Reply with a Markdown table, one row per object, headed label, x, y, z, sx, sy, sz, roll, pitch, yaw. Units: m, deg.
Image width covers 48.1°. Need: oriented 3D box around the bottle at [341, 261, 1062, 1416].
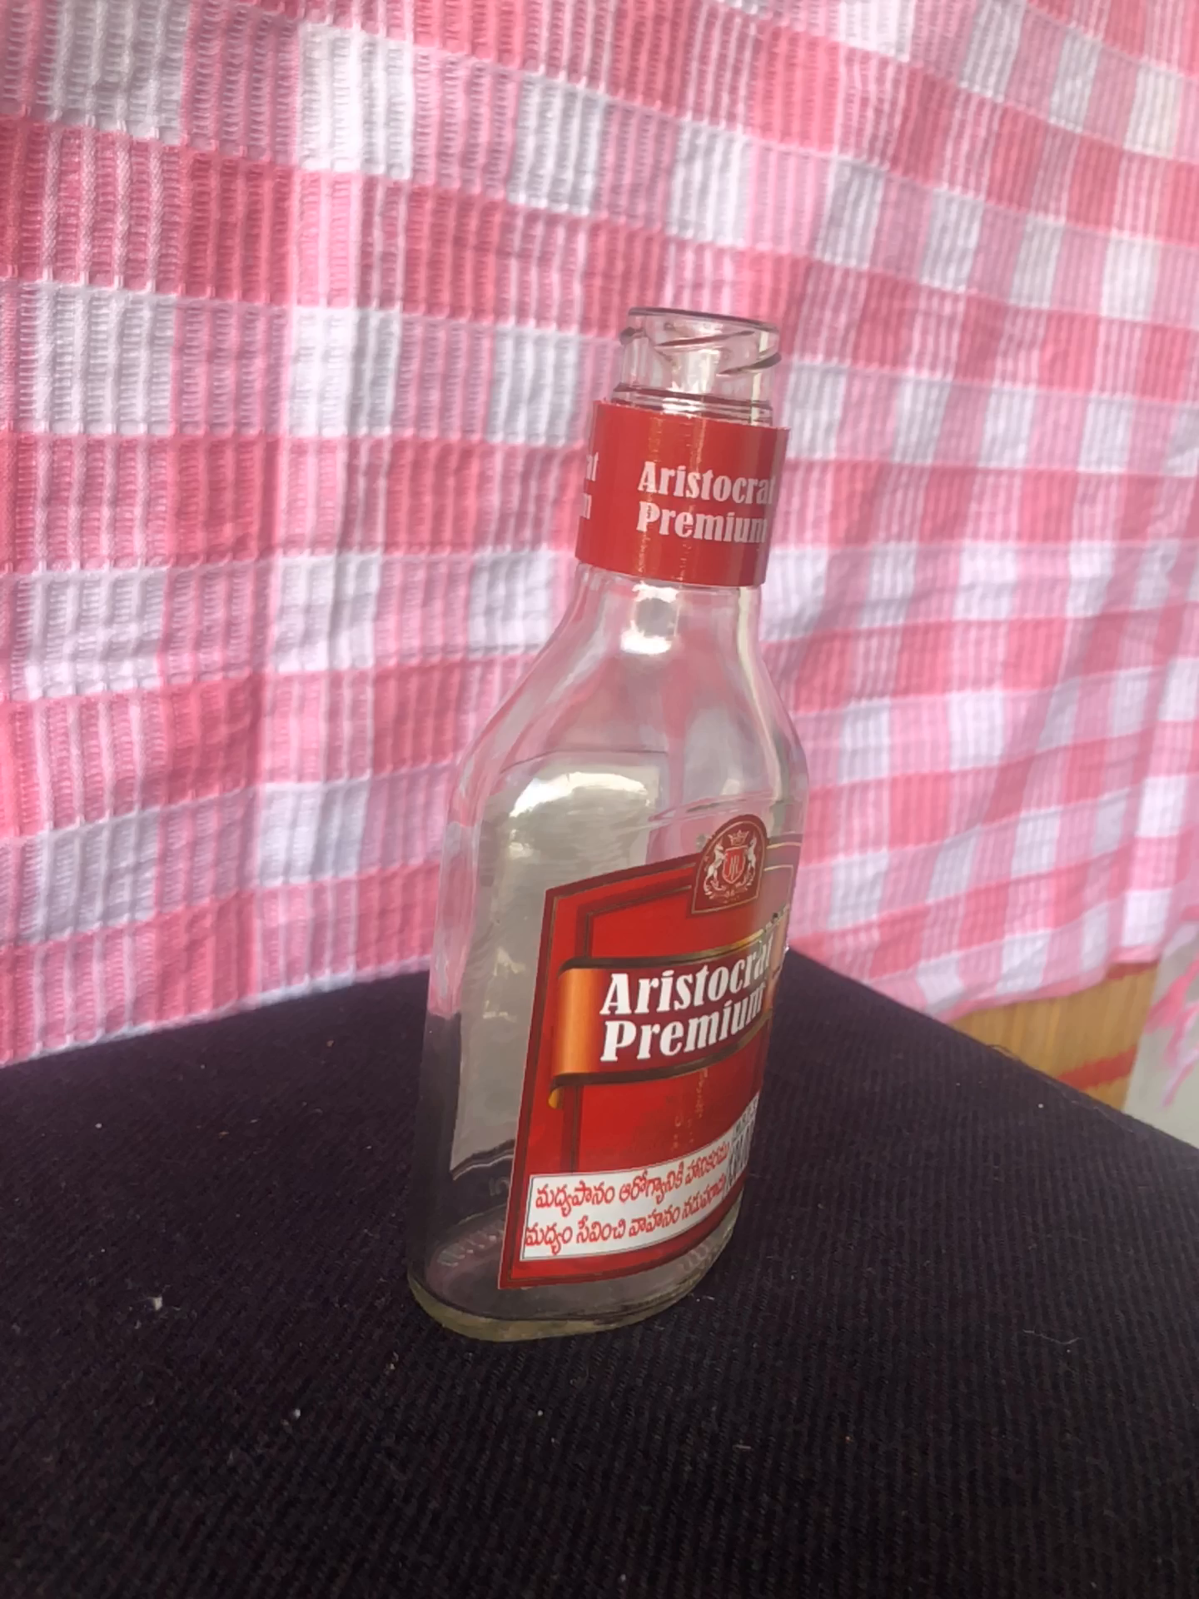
| label | x | y | z | sx | sy | sz | roll | pitch | yaw |
| --- | --- | --- | --- | --- | --- | --- | --- | --- | --- |
| bottle | 0.012 | 0.004 | 0.206 | 0.070 | 0.149 | 0.050 | -7 | 24 | -42 |
